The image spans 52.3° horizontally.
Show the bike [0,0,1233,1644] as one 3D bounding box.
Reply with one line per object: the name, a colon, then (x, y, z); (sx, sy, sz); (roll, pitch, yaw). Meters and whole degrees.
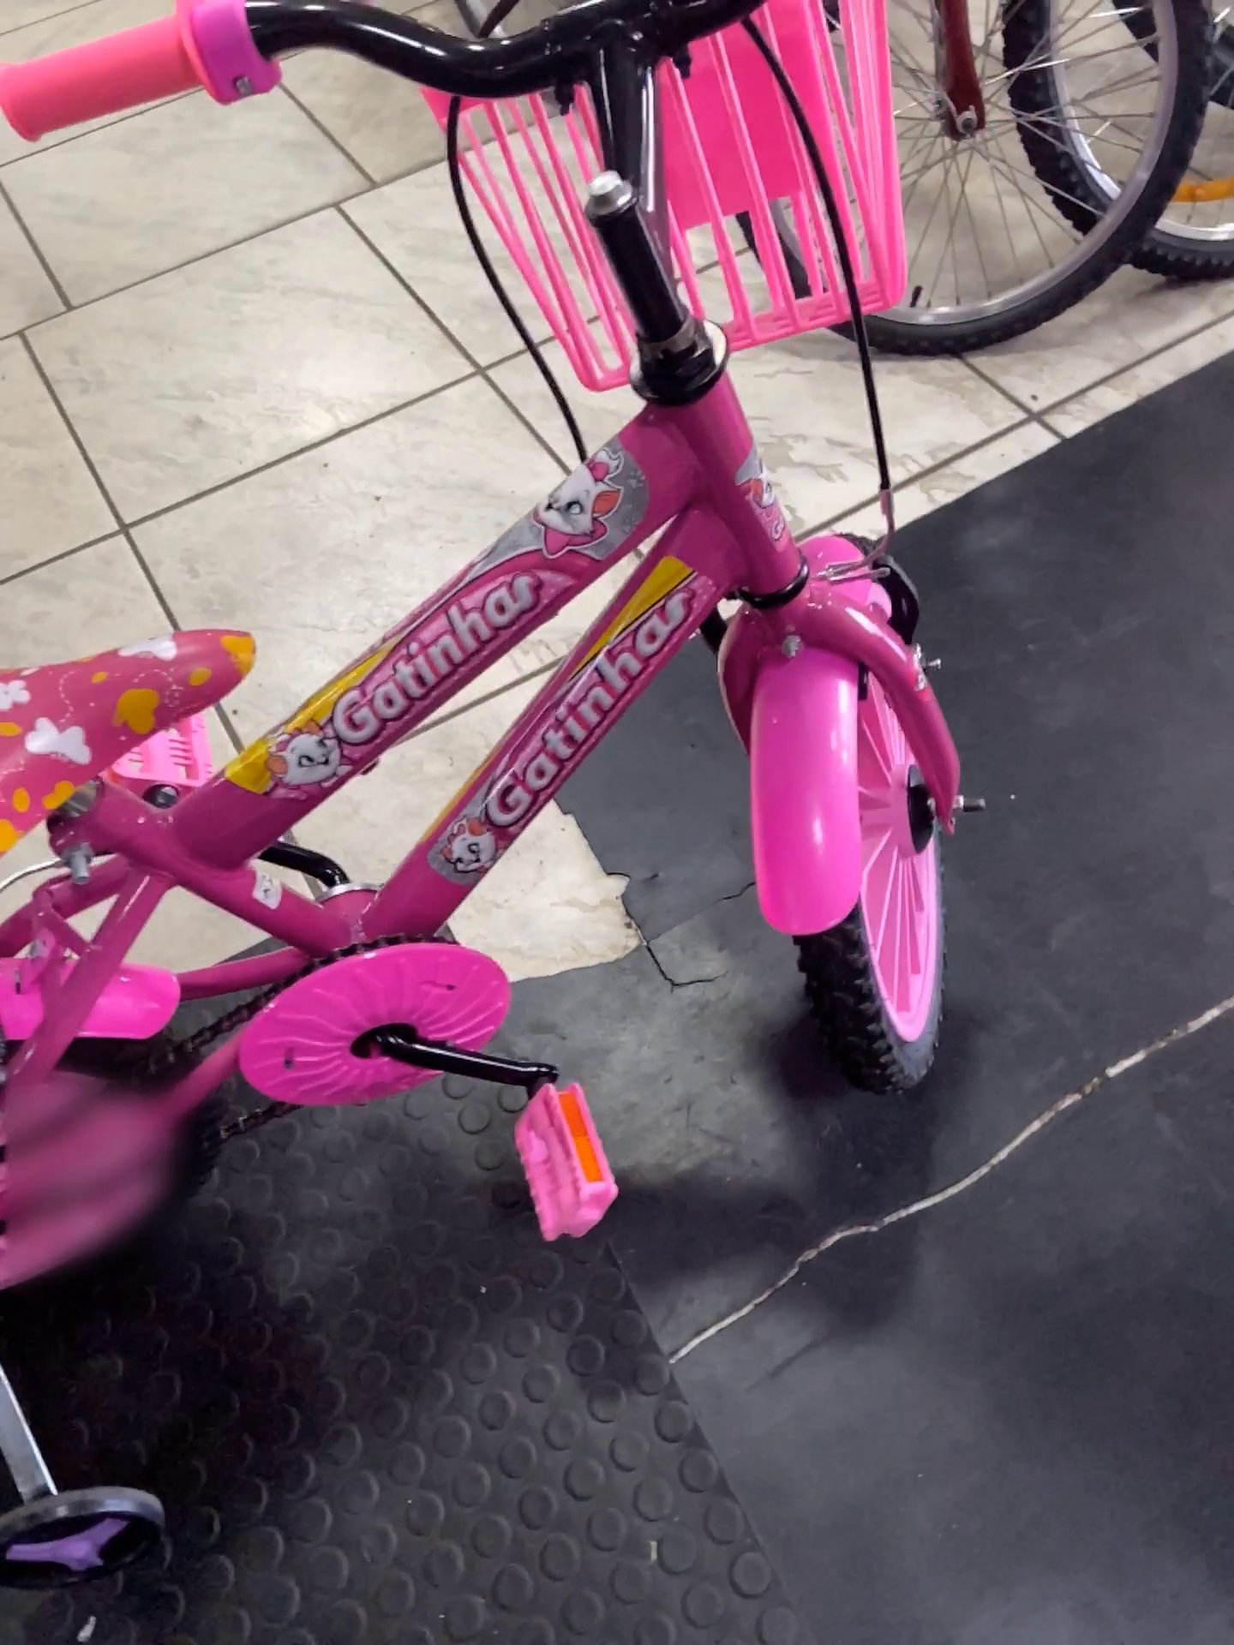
bike: (-0.214, -0.031, 0.685); (0.939, 0.789, 0.467); (-27, 56, -12)
